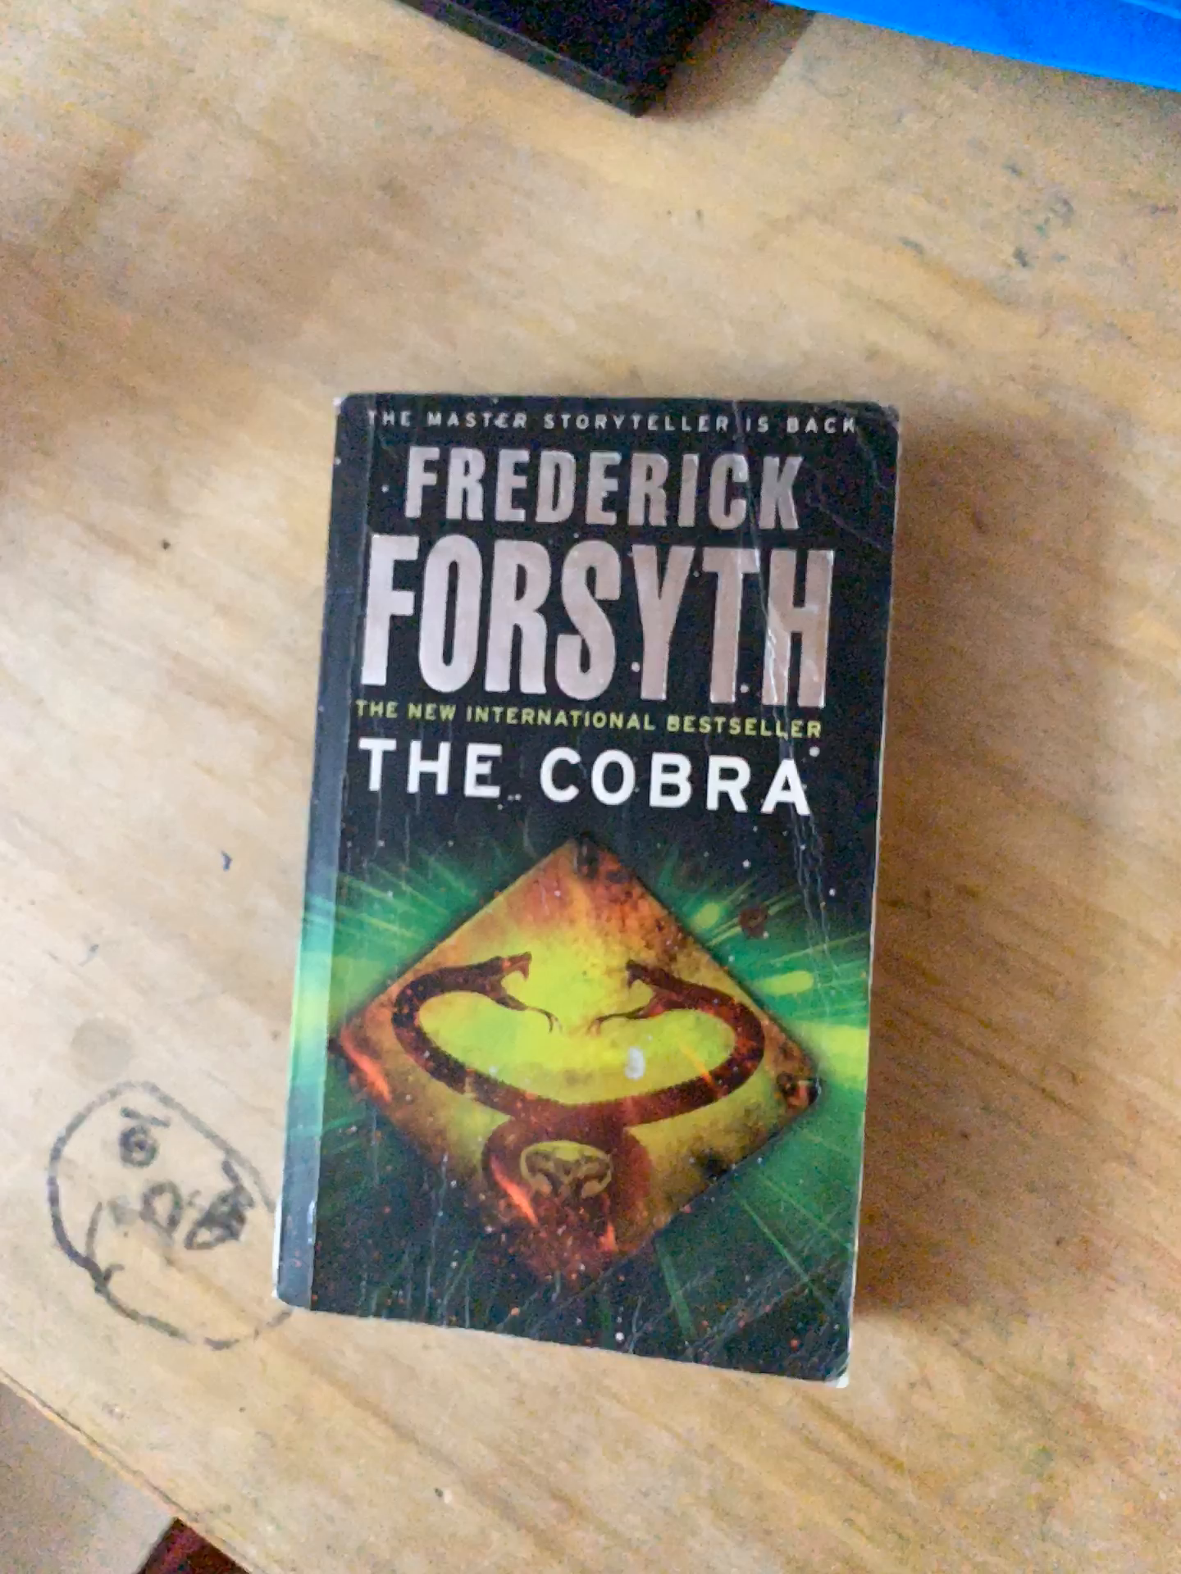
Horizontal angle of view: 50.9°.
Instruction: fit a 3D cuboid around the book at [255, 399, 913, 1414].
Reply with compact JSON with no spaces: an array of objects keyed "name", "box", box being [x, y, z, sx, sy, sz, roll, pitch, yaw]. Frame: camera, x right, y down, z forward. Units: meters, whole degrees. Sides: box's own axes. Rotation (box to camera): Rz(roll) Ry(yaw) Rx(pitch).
[{"name":"book","box":[0.001,0.016,0.224,0.100,0.040,0.160,3,87,8]}]
